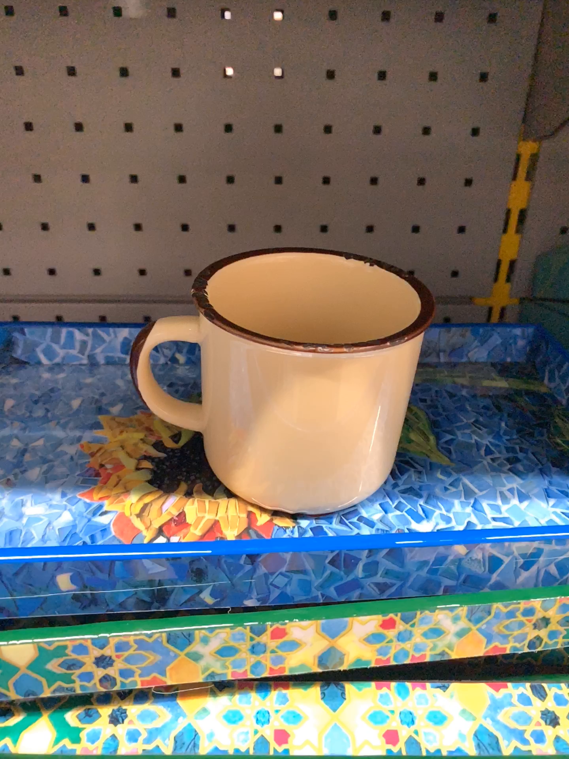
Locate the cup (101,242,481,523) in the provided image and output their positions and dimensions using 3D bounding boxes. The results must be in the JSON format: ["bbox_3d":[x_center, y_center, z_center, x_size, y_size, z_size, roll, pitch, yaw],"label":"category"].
[{"bbox_3d":[-0.001,-0.004,0.227,0.110,0.070,0.090,1,29,-3],"label":"cup"}]
